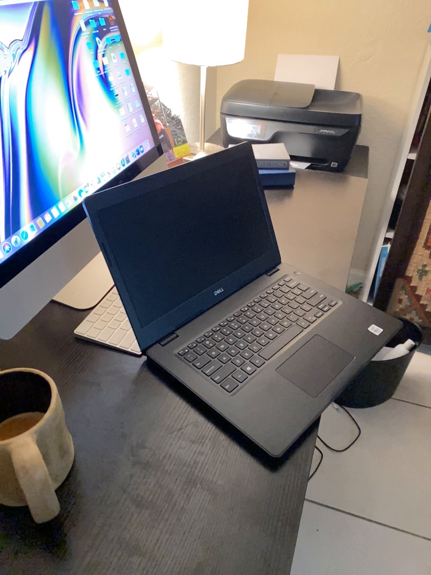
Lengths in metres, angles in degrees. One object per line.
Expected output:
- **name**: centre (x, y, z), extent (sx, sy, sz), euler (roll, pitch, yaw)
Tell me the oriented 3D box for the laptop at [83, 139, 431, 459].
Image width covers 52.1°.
- **laptop**: centre (0.066, -0.030, 0.643), extent (0.343, 0.206, 0.337), euler (31, 46, 33)
